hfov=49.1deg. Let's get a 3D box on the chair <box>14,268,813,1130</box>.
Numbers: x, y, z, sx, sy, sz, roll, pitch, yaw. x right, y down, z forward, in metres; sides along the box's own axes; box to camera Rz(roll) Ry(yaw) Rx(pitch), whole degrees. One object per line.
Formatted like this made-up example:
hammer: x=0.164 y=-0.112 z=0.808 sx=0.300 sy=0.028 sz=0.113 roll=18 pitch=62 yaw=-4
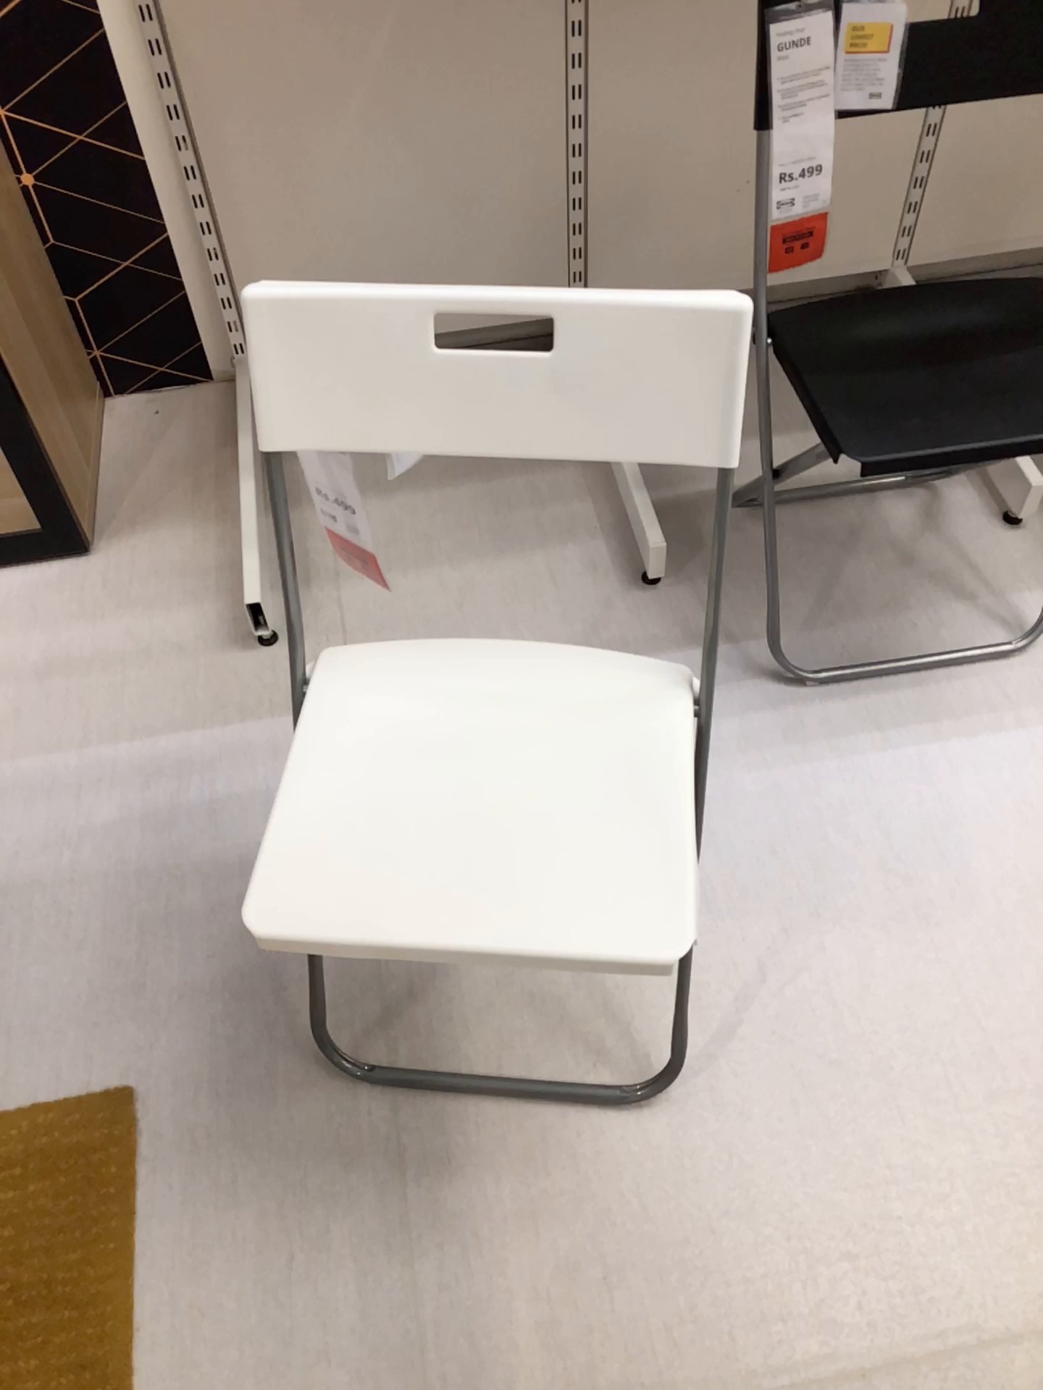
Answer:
chair: x=-0.031 y=0.057 z=1.041 sx=0.450 sy=0.726 sz=0.402 roll=3 pitch=52 yaw=6
